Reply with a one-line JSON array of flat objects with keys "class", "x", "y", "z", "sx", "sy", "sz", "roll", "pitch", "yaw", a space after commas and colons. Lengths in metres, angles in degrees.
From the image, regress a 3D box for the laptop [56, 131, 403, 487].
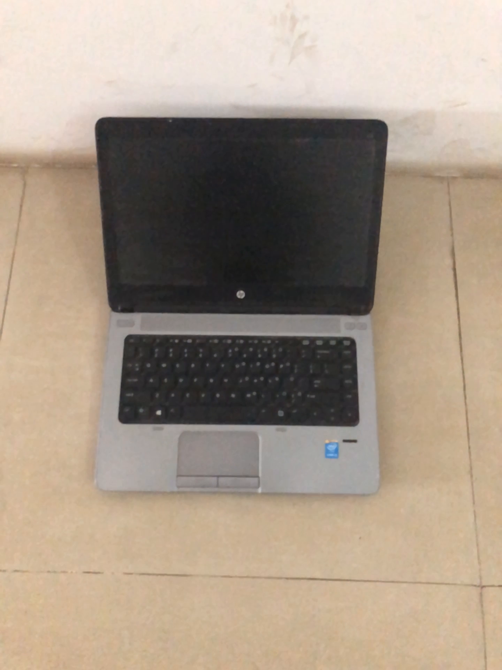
[{"class": "laptop", "x": -0.016, "y": -0.028, "z": 0.642, "sx": 0.318, "sy": 0.146, "sz": 0.386, "roll": 1, "pitch": 71, "yaw": 0}]
